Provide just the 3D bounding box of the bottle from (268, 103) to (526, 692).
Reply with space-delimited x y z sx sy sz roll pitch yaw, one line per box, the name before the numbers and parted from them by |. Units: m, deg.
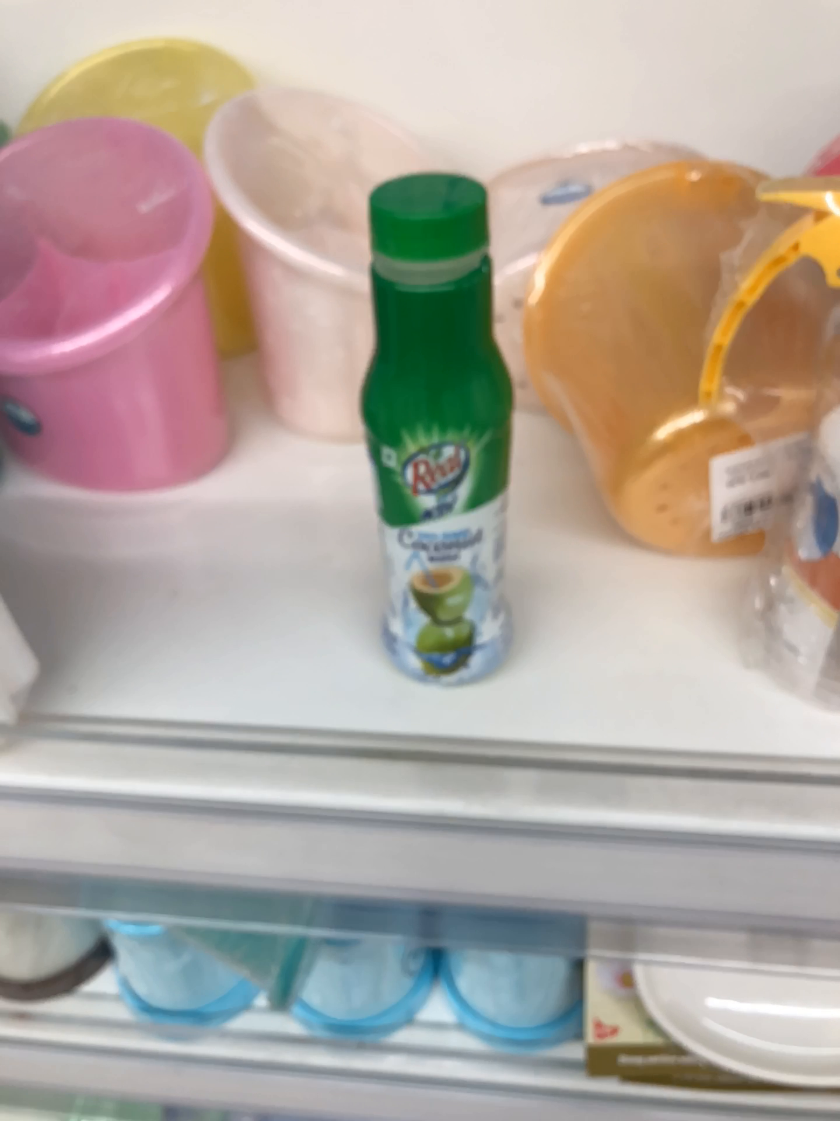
bottle | -0.001 -0.040 0.304 0.060 0.179 0.060 -2 43 2
